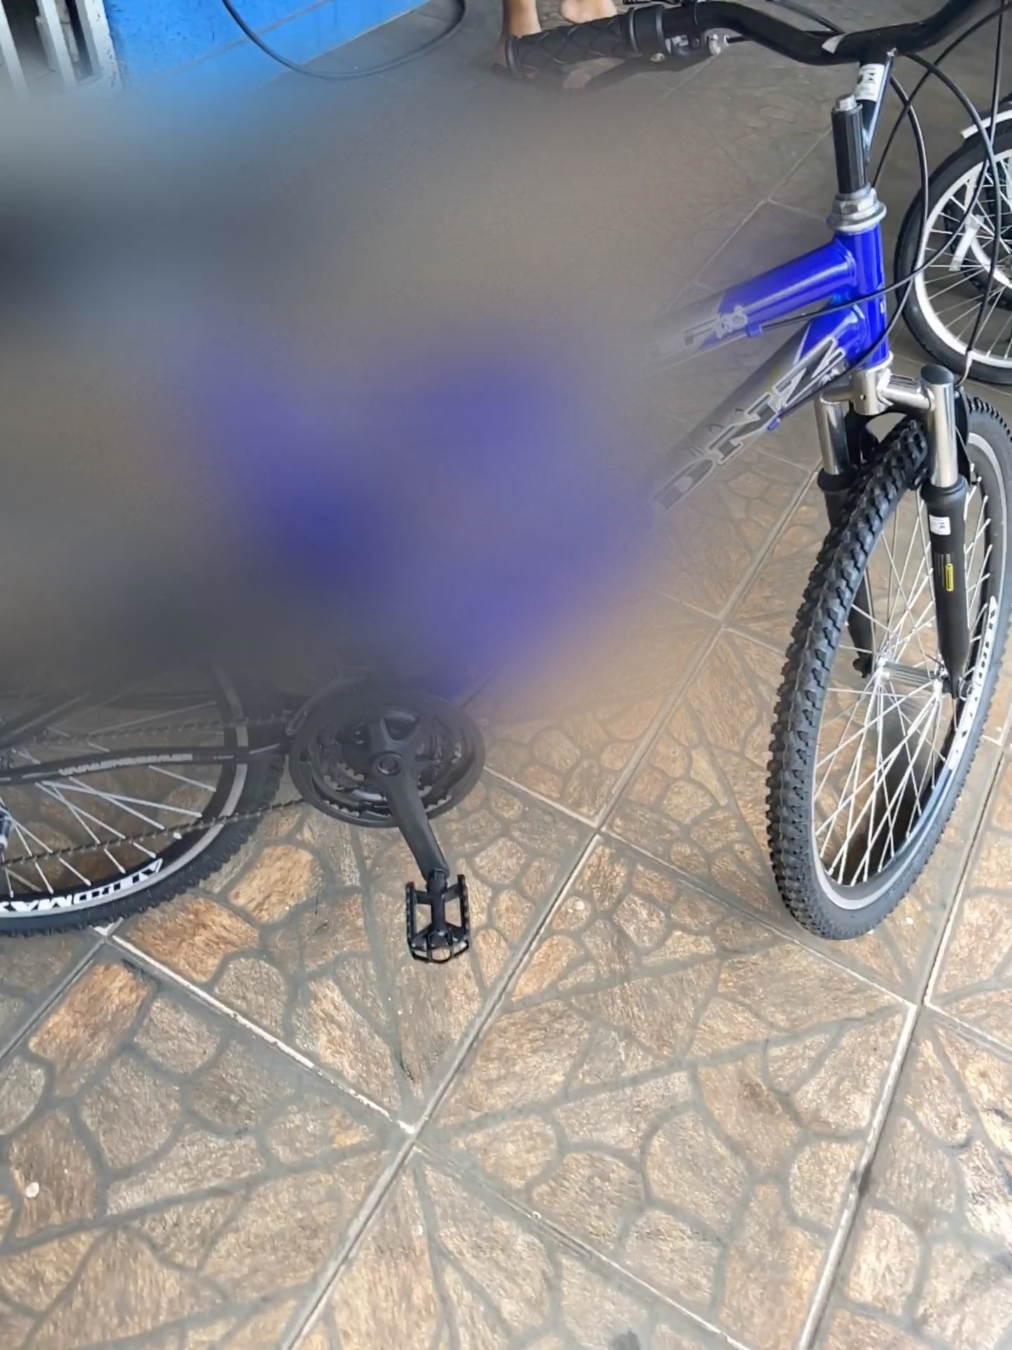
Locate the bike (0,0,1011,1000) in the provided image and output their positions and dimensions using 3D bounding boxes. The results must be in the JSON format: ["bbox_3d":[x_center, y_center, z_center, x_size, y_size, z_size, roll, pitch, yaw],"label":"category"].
[{"bbox_3d":[-0.148,-0.253,1.216,1.611,1.019,0.517,-9,51,-11],"label":"bike"}]
